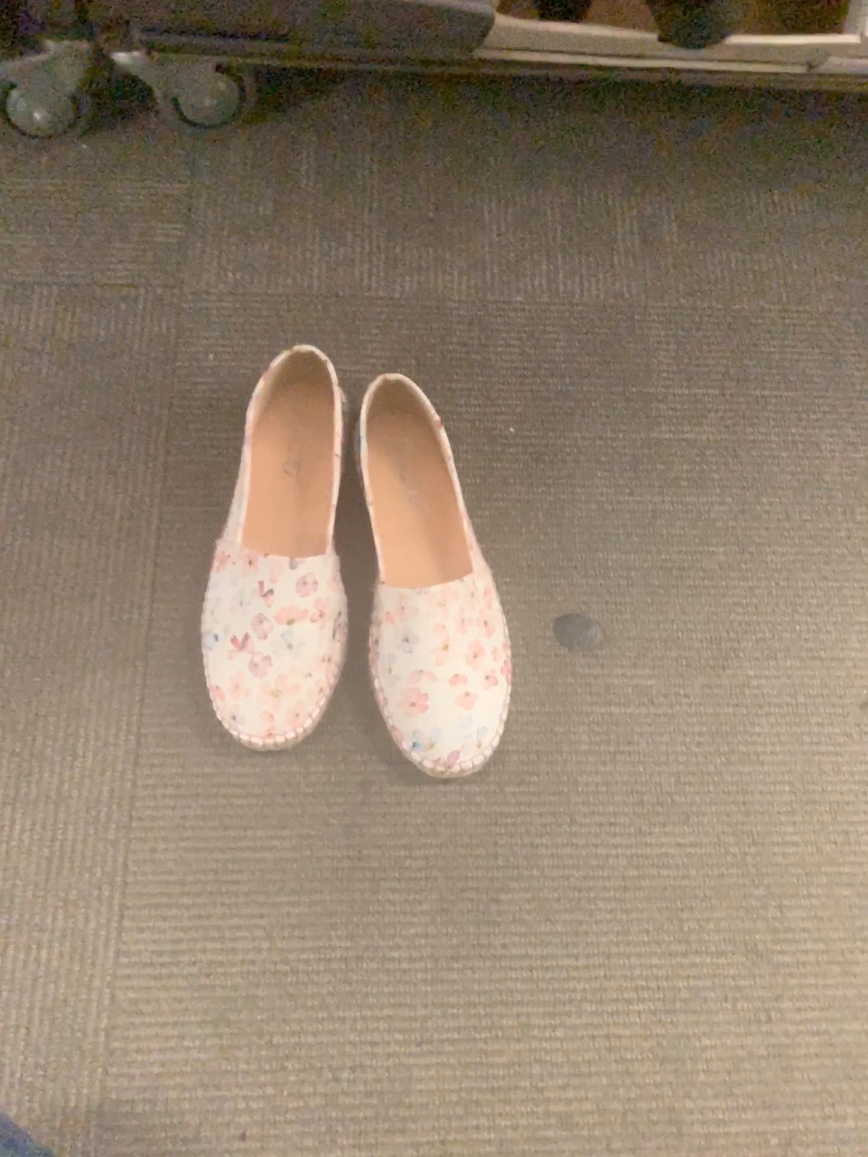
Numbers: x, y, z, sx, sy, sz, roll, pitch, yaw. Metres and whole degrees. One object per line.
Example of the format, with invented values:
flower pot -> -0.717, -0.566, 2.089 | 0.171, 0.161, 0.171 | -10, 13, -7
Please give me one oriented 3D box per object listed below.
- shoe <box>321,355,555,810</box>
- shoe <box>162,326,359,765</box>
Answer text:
shoe -> -0.005, 0.001, 0.552 | 0.091, 0.080, 0.264 | -9, 72, -6
shoe -> -0.100, -0.021, 0.555 | 0.091, 0.080, 0.264 | 2, 71, -3
